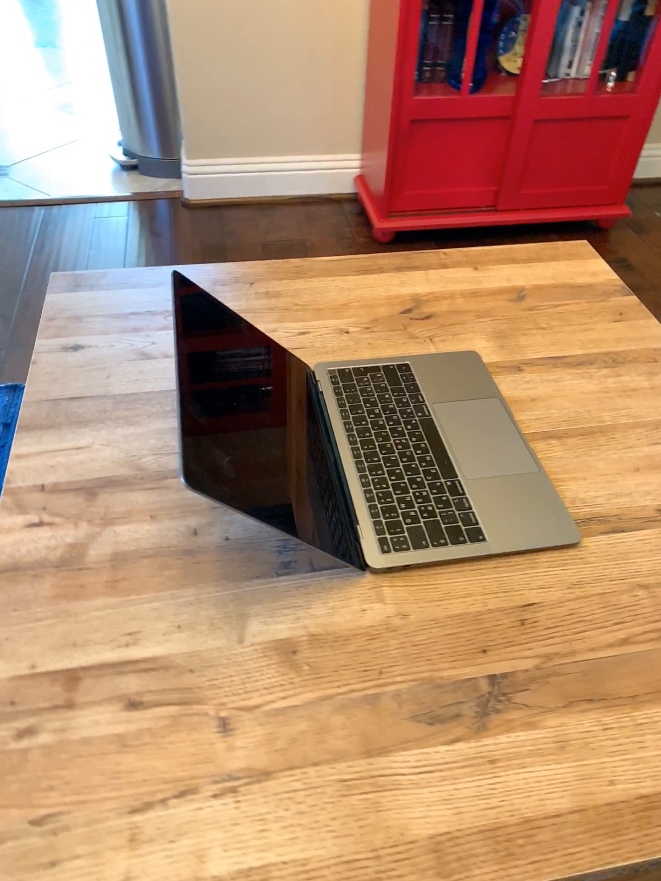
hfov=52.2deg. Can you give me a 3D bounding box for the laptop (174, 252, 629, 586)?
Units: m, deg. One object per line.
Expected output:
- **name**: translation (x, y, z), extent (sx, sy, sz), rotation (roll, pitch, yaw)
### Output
- **laptop**: translation (0.038, -0.040, 0.668), extent (0.353, 0.141, 0.292), rotation (-5, 45, -9)
